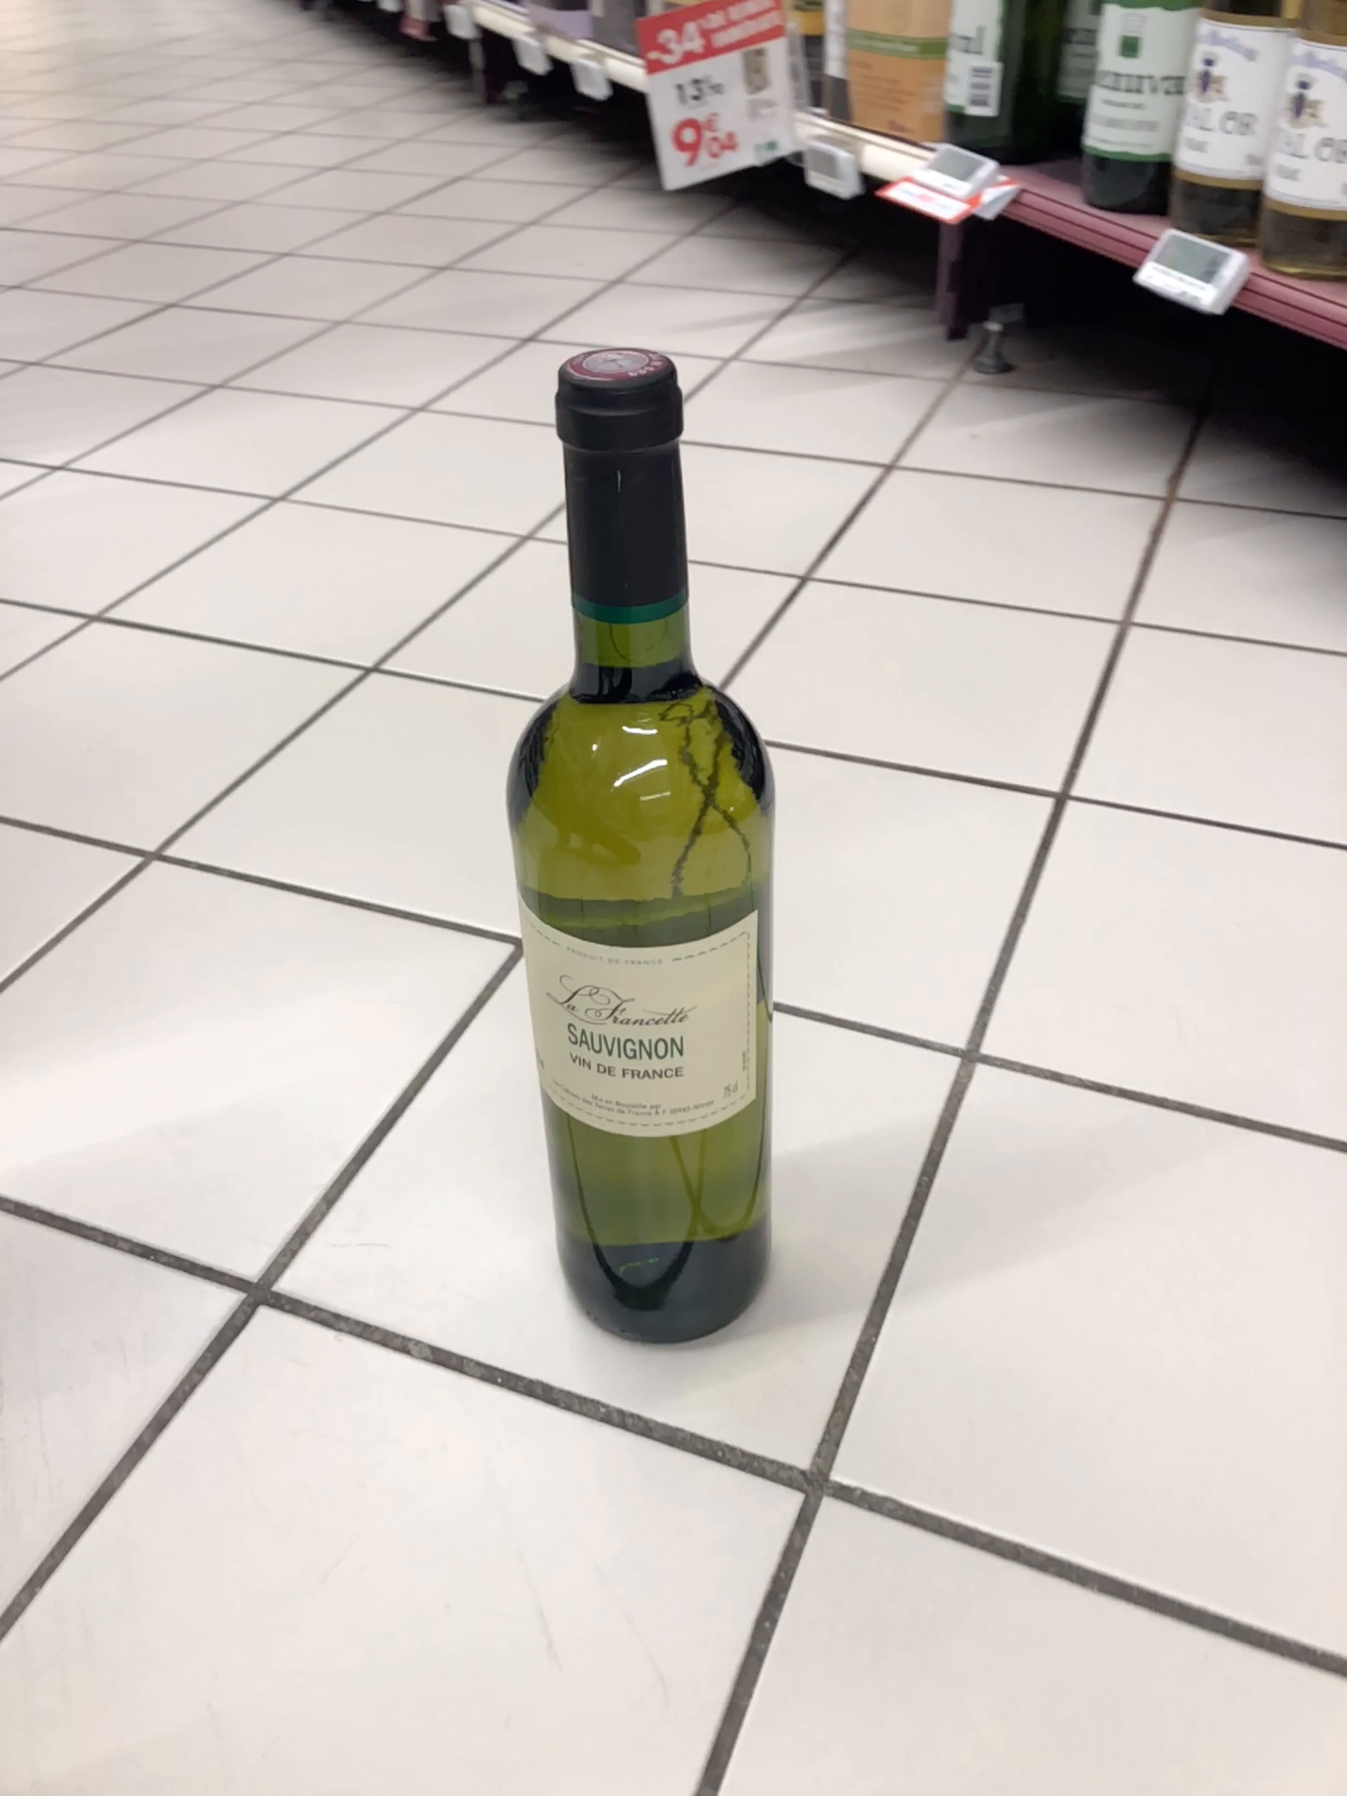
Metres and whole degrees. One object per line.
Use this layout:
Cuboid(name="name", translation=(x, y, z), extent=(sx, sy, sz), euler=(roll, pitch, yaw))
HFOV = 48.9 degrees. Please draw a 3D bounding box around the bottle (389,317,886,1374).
Cuboid(name="bottle", translation=(0.000, 0.000, 0.421), extent=(0.090, 0.288, 0.091), euler=(-1, 36, 1))
